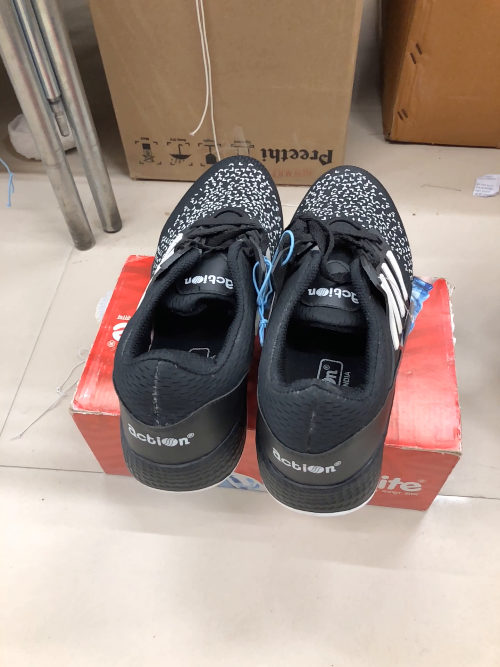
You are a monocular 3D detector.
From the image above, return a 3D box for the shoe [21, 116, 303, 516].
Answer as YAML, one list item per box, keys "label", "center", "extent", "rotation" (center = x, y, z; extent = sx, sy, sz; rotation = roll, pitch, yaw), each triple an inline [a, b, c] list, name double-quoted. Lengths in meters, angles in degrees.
- label: "shoe"
  center: [-0.036, -0.029, 0.391]
  extent: [0.111, 0.102, 0.268]
  rotation: [7, 53, 7]

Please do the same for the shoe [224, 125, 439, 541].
- label: "shoe"
  center: [0.064, -0.017, 0.379]
  extent: [0.101, 0.102, 0.268]
  rotation: [8, 54, 8]
